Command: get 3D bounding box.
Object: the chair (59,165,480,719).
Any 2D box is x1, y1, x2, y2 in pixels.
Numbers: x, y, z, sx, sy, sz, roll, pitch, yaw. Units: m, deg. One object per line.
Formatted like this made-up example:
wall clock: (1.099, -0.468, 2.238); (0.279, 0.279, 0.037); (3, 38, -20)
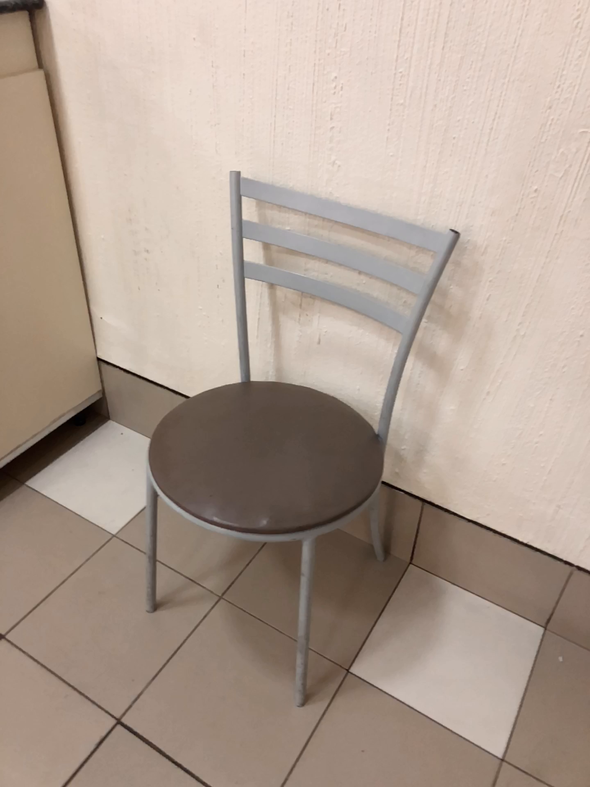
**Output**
chair: (-0.030, 0.084, 1.133); (0.431, 0.764, 0.423); (21, 40, 23)
